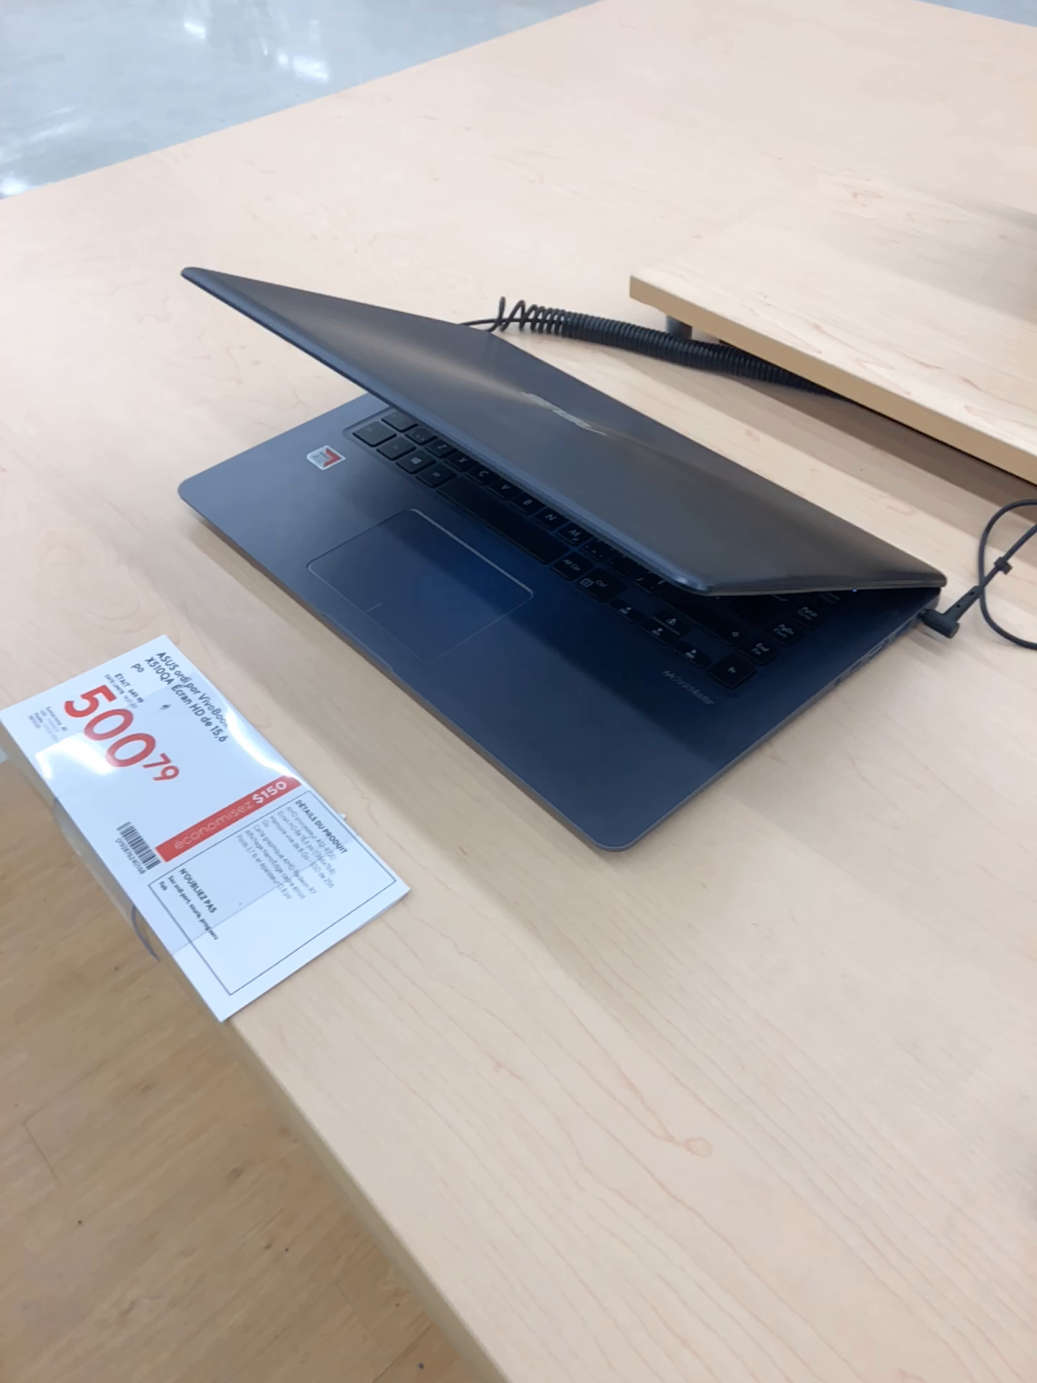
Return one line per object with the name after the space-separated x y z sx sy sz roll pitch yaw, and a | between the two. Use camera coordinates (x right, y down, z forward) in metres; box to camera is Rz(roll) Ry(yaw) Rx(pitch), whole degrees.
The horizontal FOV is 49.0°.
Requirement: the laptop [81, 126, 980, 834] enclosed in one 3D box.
-0.005 -0.134 0.571 0.232 0.136 0.345 -35 55 -27 | laptop
